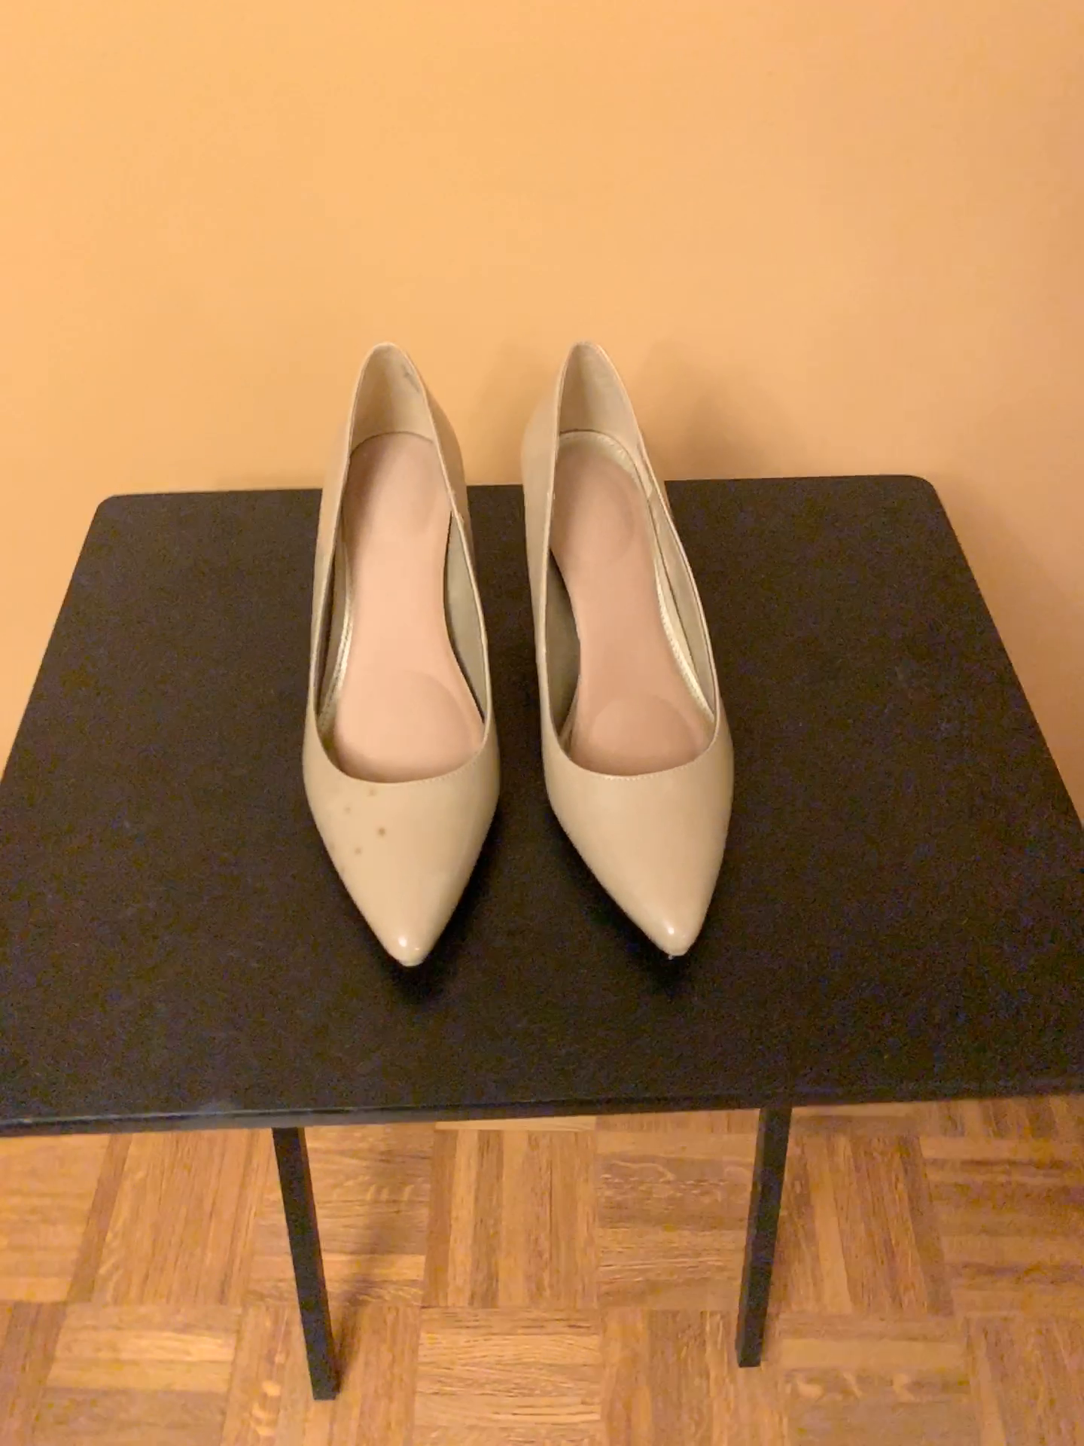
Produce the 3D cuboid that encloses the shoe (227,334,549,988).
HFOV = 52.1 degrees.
[{"bbox_3d":[-0.062,-0.047,0.480,0.100,0.090,0.301,-4,48,-4],"label":"shoe"}]

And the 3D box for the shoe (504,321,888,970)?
[{"bbox_3d":[0.045,-0.054,0.480,0.100,0.090,0.301,-4,48,-4],"label":"shoe"}]
